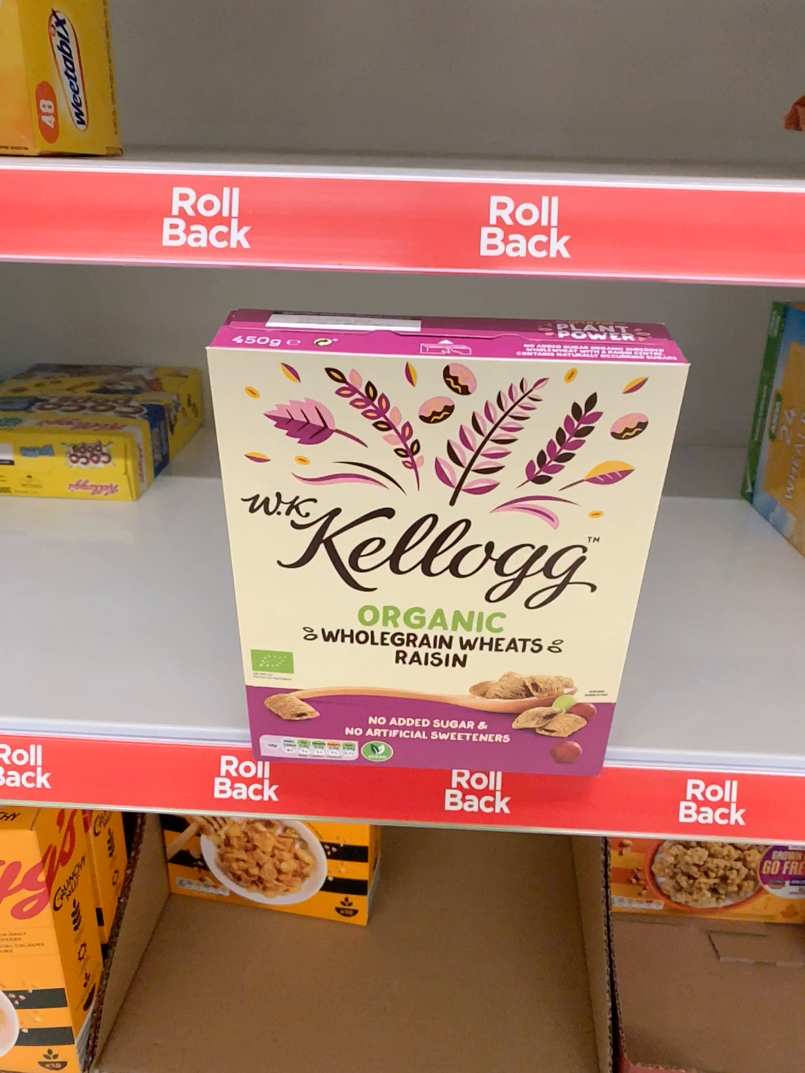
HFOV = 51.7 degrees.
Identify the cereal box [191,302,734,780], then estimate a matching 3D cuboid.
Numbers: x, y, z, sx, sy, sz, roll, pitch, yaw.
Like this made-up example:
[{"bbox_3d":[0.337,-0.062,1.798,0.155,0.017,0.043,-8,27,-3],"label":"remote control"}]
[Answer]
[{"bbox_3d":[0.022,0.010,0.388,0.200,0.218,0.061,1,31,2],"label":"cereal box"}]
